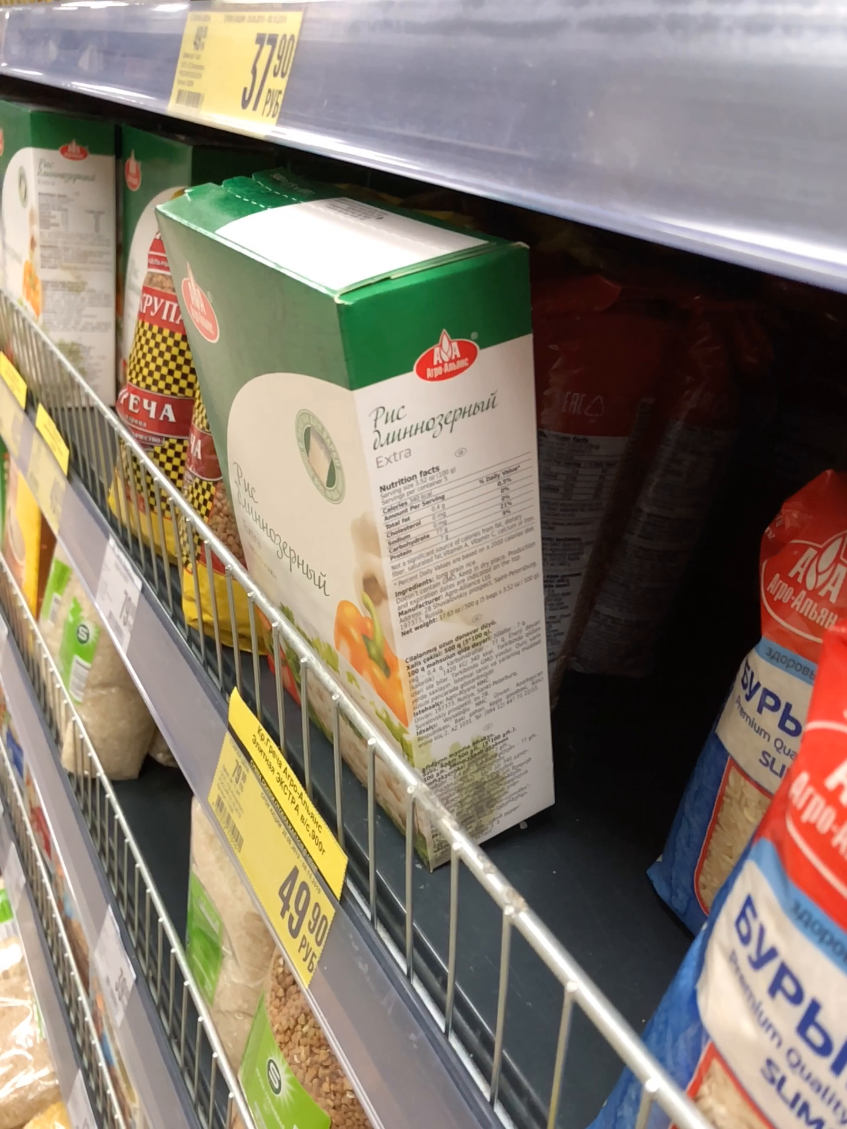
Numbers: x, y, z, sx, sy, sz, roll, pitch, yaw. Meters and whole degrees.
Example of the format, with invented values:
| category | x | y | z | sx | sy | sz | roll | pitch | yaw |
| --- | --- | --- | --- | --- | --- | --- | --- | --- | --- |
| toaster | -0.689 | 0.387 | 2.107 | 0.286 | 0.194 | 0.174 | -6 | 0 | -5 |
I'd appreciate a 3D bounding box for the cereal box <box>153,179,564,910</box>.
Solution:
| category | x | y | z | sx | sy | sz | roll | pitch | yaw |
| --- | --- | --- | --- | --- | --- | --- | --- | --- | --- |
| cereal box | -0.019 | -0.009 | 0.322 | 0.050 | 0.209 | 0.140 | -24 | 36 | -22 |
